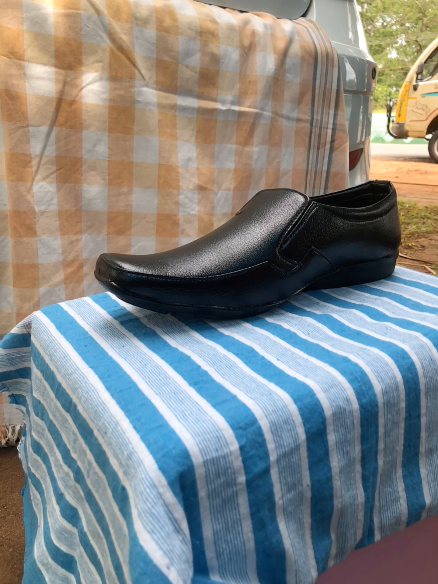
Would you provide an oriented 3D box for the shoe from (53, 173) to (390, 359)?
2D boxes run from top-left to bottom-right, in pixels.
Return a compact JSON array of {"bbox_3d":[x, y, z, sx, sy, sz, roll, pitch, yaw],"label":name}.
[{"bbox_3d":[0.020,-0.045,0.443,0.301,0.110,0.100,-13,21,-36],"label":"shoe"}]
